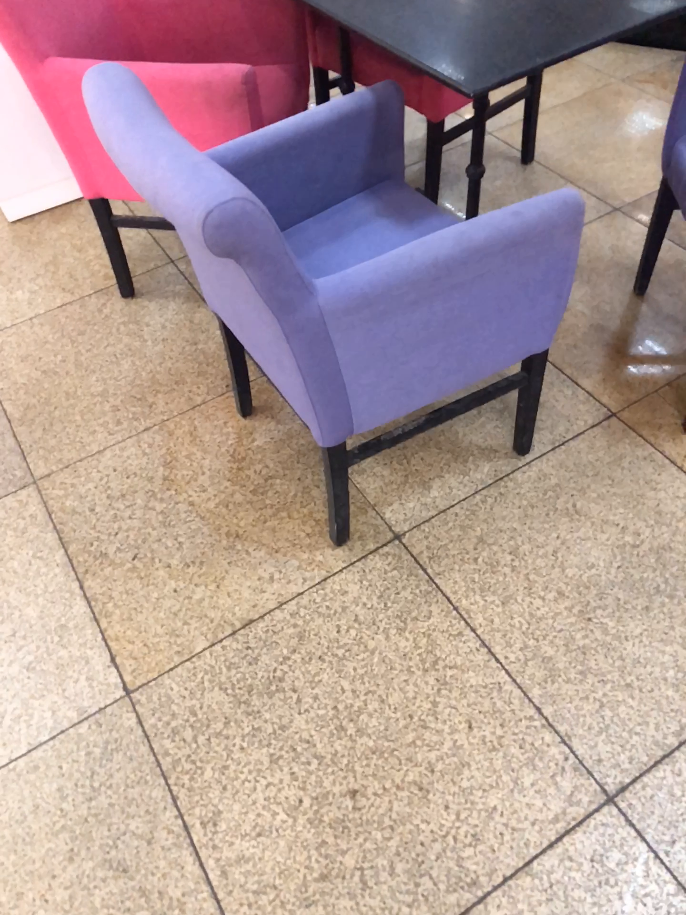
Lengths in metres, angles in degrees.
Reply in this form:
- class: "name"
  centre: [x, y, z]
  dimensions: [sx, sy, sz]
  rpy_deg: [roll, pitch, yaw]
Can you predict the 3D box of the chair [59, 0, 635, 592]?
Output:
- class: "chair"
  centre: [0.003, -0.324, 1.384]
  dimensions: [0.611, 0.817, 0.591]
  rpy_deg: [-27, 53, -17]
